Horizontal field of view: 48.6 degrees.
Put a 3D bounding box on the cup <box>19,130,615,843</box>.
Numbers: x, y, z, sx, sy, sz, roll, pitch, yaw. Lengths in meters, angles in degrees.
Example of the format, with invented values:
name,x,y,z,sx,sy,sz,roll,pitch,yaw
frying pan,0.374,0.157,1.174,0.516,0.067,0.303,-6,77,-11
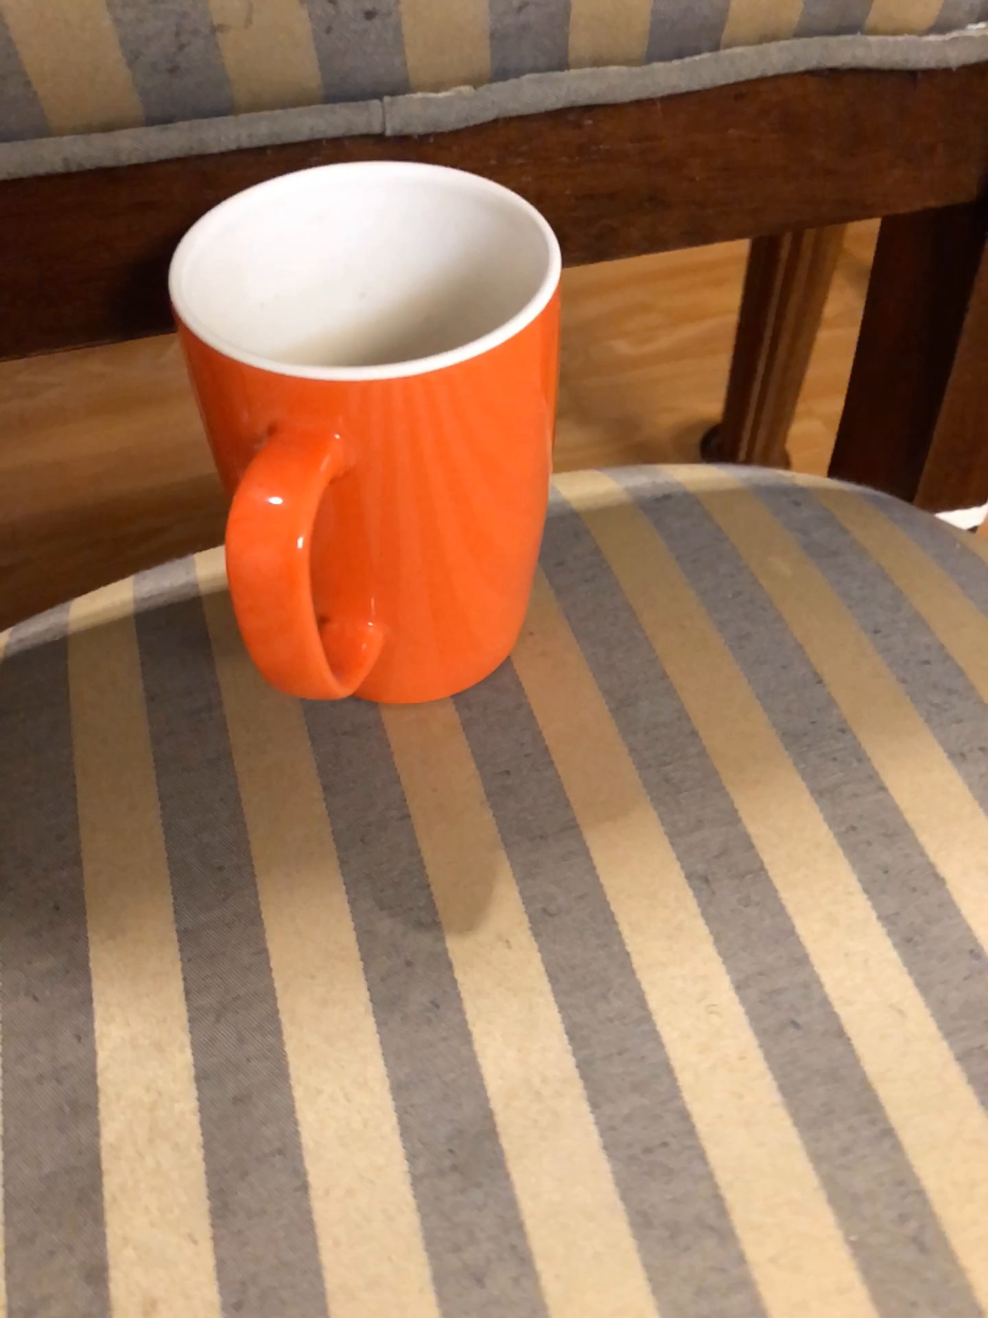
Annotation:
name,x,y,z,sx,sy,sz,roll,pitch,yaw
cup,-0.025,-0.040,0.251,0.090,0.099,0.121,6,51,5
